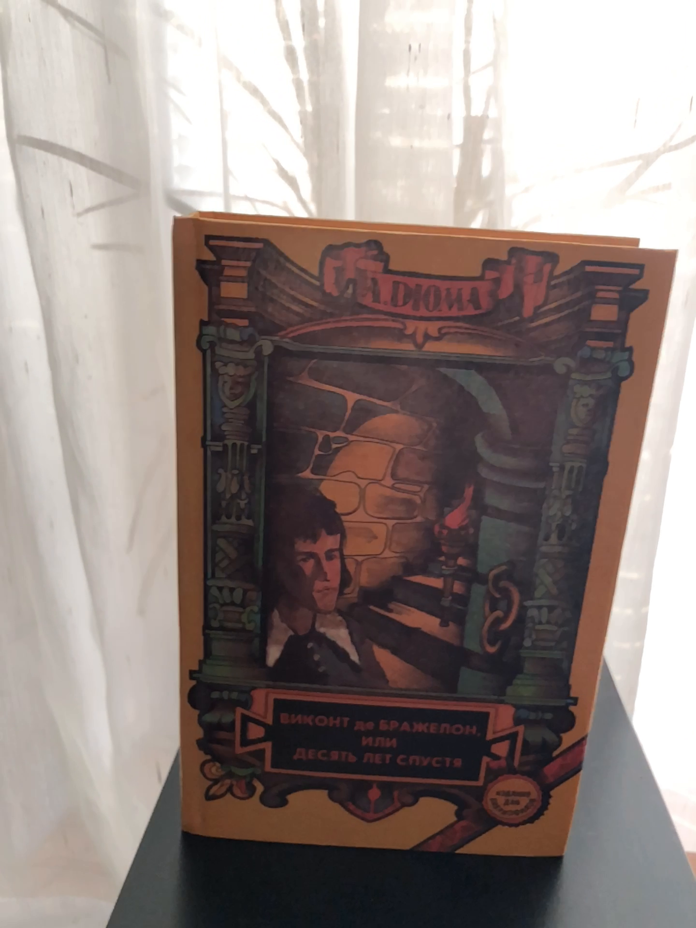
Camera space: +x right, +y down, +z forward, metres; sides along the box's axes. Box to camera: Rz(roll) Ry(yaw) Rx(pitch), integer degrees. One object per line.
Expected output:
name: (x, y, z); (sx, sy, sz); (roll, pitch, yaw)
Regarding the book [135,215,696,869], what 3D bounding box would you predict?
book: (0.014, 0.028, 0.246); (0.141, 0.198, 0.040); (3, 18, 2)
